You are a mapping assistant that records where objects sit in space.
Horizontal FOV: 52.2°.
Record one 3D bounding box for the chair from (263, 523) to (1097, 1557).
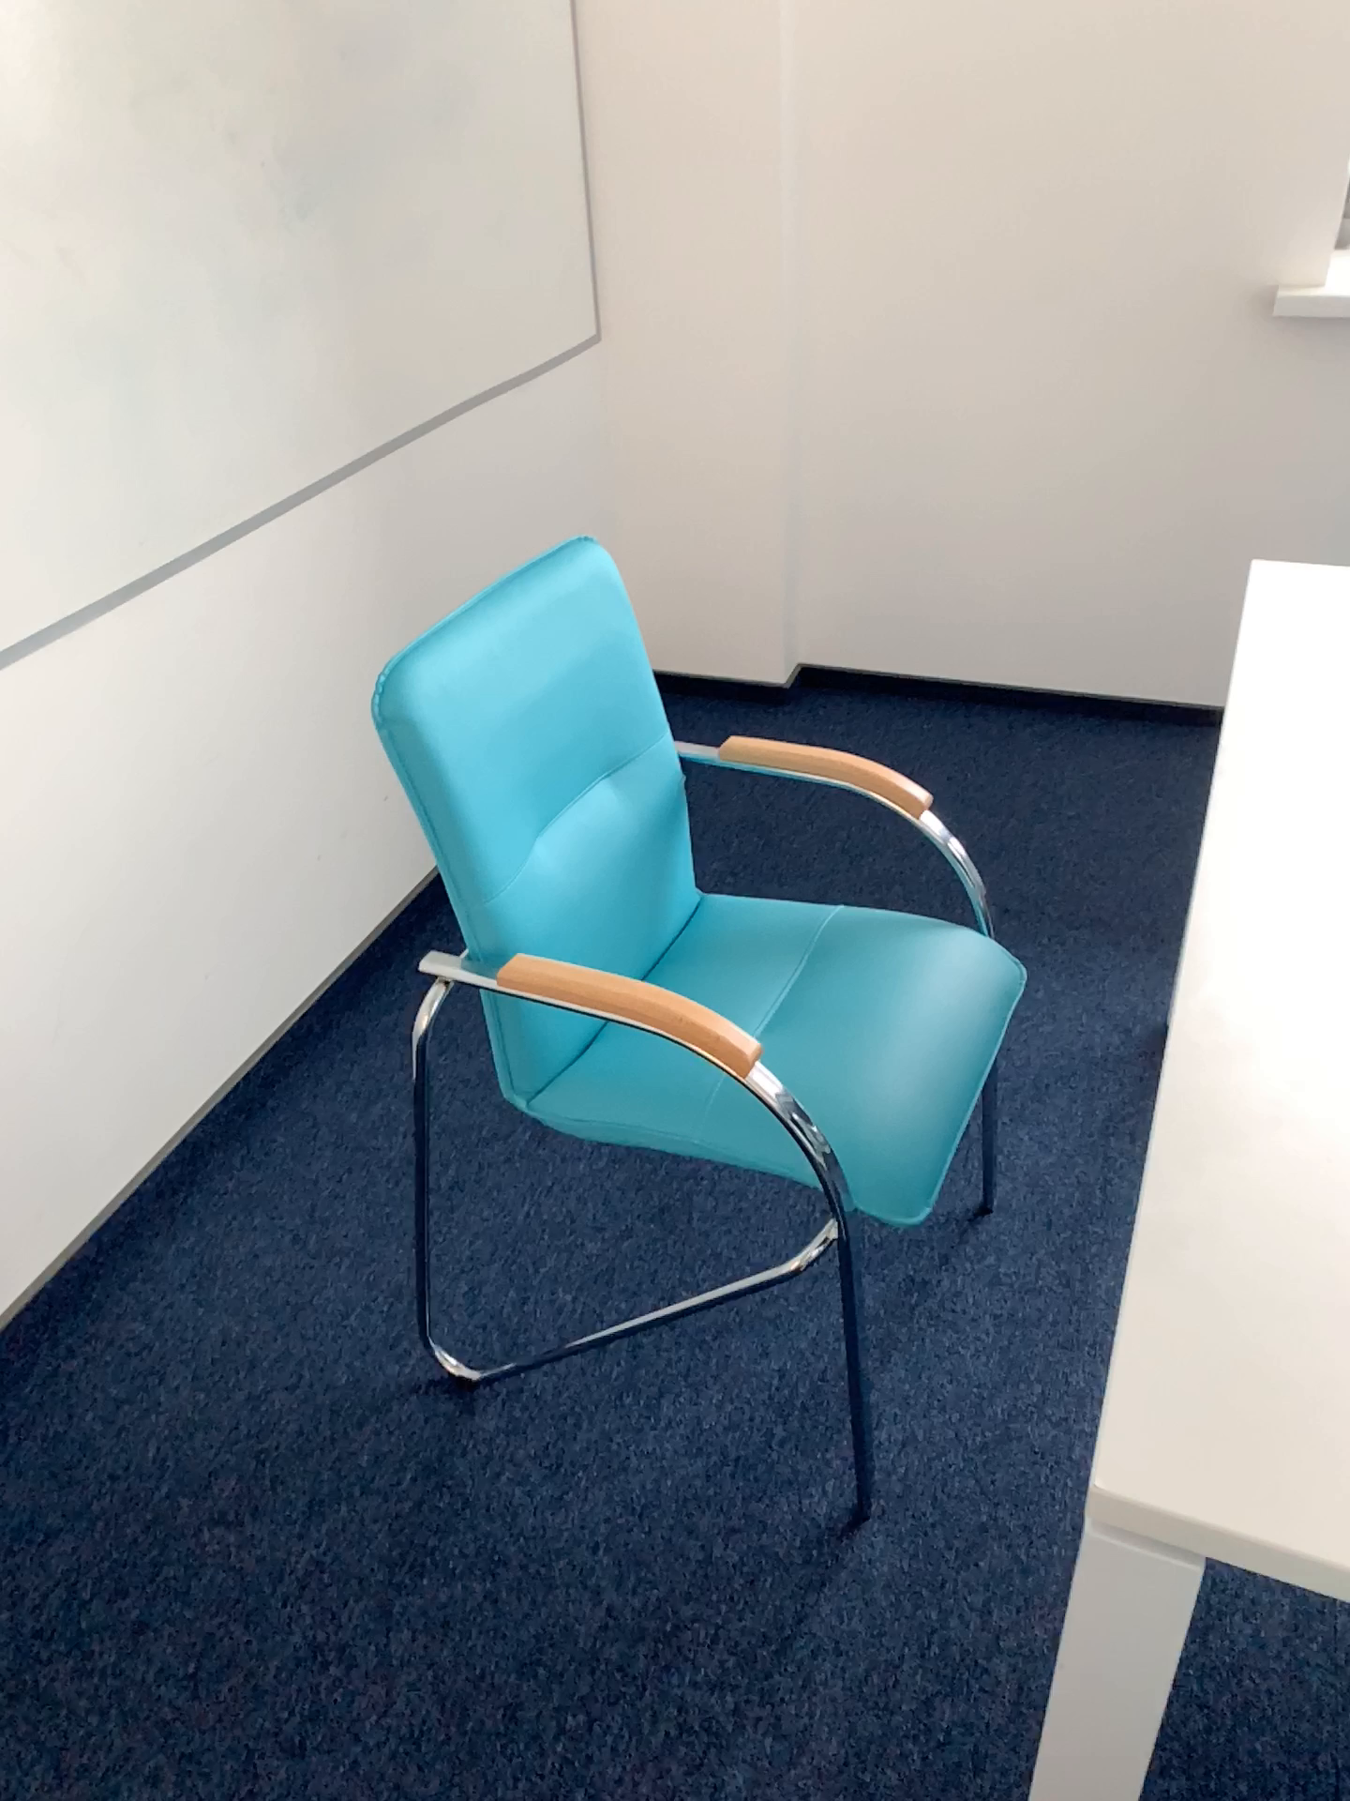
[{"bbox_3d":[0.056,0.132,1.627,0.651,0.925,0.583,12,36,22],"label":"chair"}]
